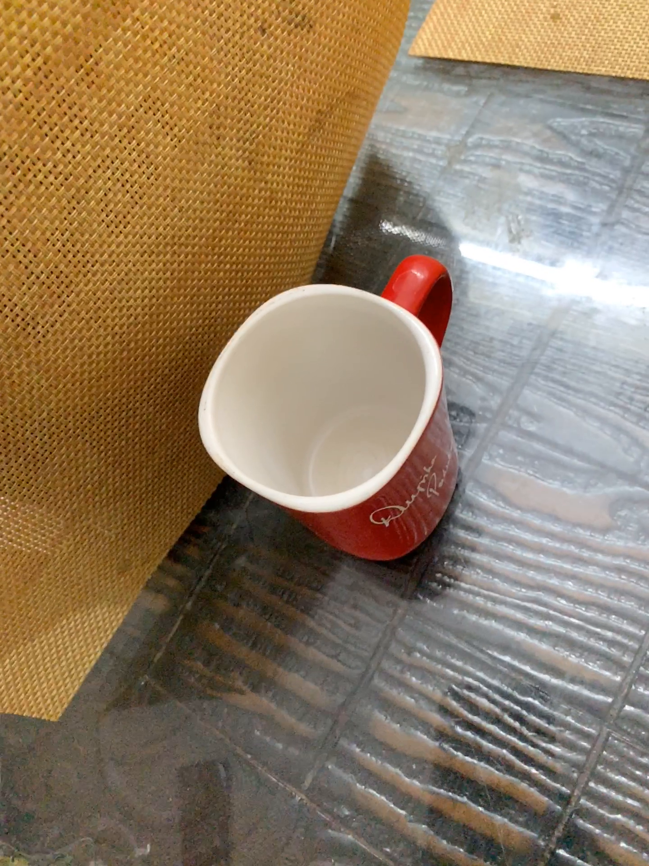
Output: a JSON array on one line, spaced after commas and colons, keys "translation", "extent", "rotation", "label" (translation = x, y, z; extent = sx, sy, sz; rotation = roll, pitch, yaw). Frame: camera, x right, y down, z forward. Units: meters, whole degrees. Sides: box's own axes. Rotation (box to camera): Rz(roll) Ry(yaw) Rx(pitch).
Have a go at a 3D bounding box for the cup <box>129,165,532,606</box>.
[{"translation": [0.011, -0.012, 0.220], "extent": [0.070, 0.080, 0.100], "rotation": [28, 79, 25], "label": "cup"}]
